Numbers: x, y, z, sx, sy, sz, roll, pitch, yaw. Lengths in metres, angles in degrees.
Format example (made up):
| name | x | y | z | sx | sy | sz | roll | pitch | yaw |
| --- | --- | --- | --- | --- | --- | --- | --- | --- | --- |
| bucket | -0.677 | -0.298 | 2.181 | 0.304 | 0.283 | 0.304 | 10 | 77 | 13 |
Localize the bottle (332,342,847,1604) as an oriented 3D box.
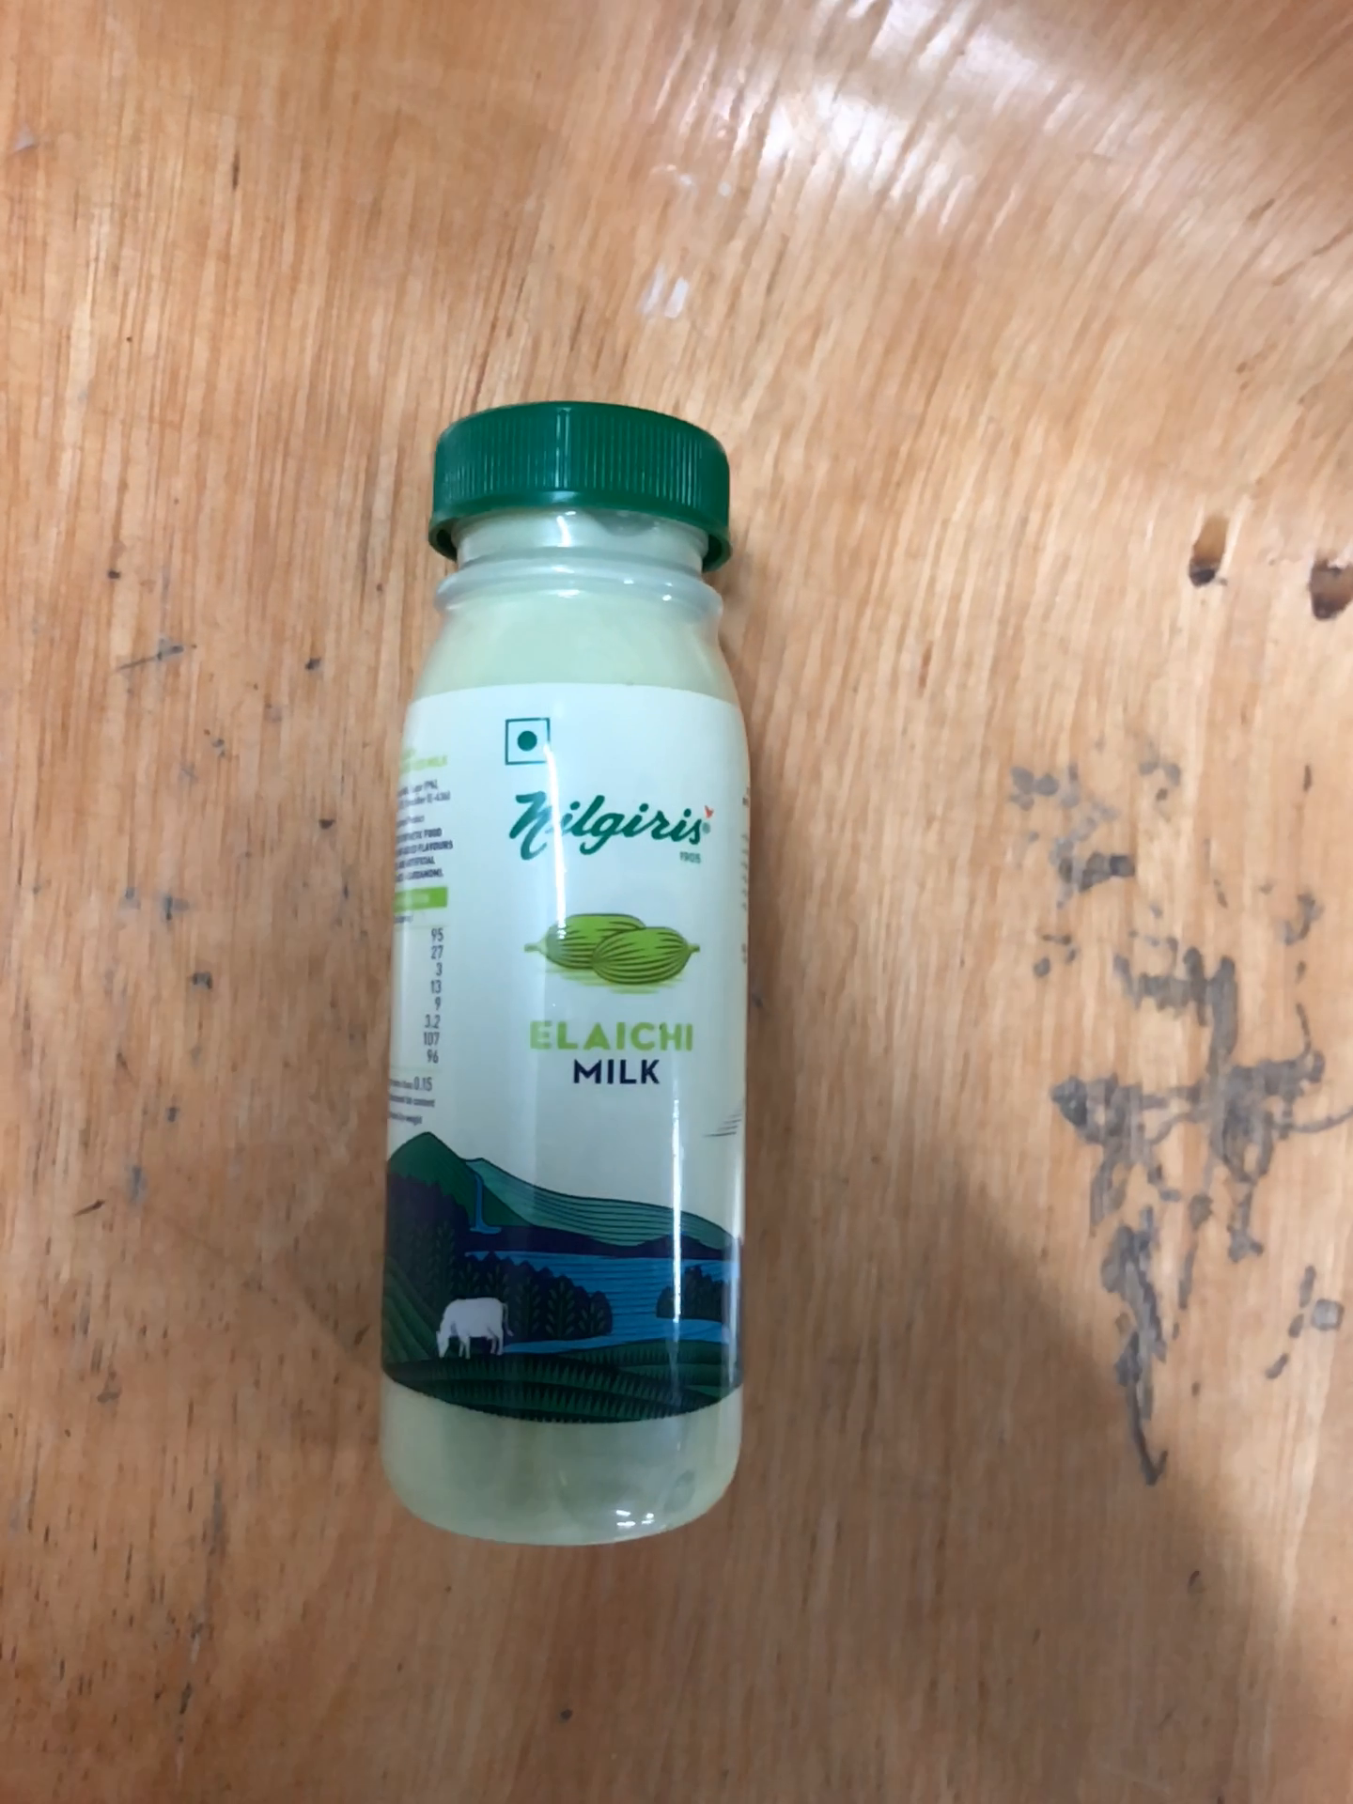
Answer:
| name | x | y | z | sx | sy | sz | roll | pitch | yaw |
| --- | --- | --- | --- | --- | --- | --- | --- | --- | --- |
| bottle | -0.012 | 0.008 | 0.197 | 0.050 | 0.040 | 0.140 | 4 | 87 | -23 |
